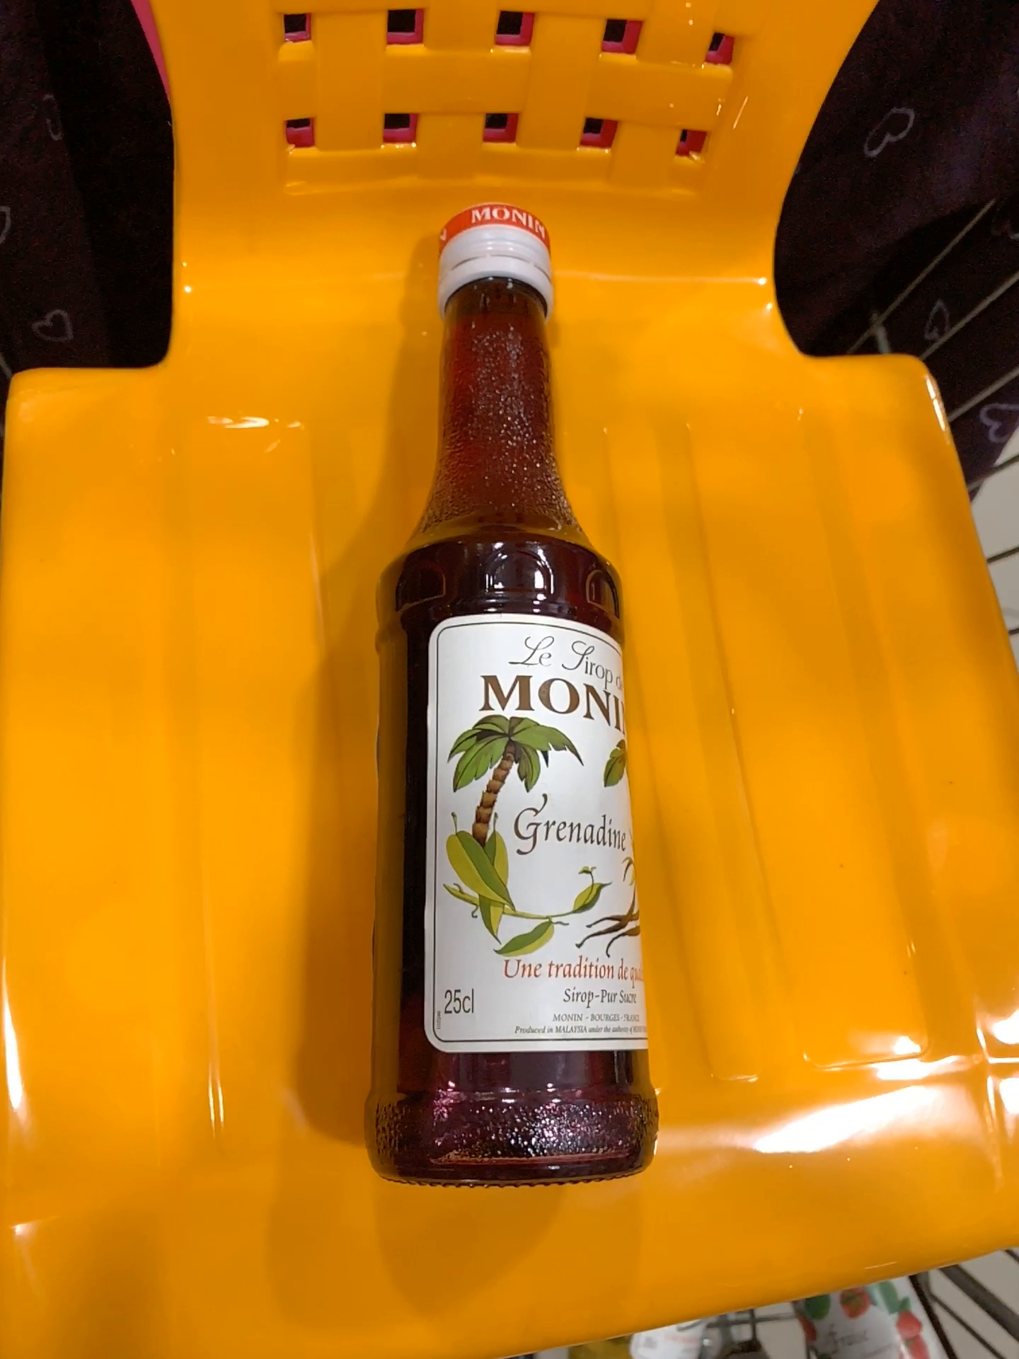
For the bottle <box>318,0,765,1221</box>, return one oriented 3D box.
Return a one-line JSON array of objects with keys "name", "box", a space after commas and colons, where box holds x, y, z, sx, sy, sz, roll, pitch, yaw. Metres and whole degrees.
[{"name": "bottle", "box": [0.003, -0.024, 0.226, 0.060, 0.050, 0.240, 17, 63, -41]}]
